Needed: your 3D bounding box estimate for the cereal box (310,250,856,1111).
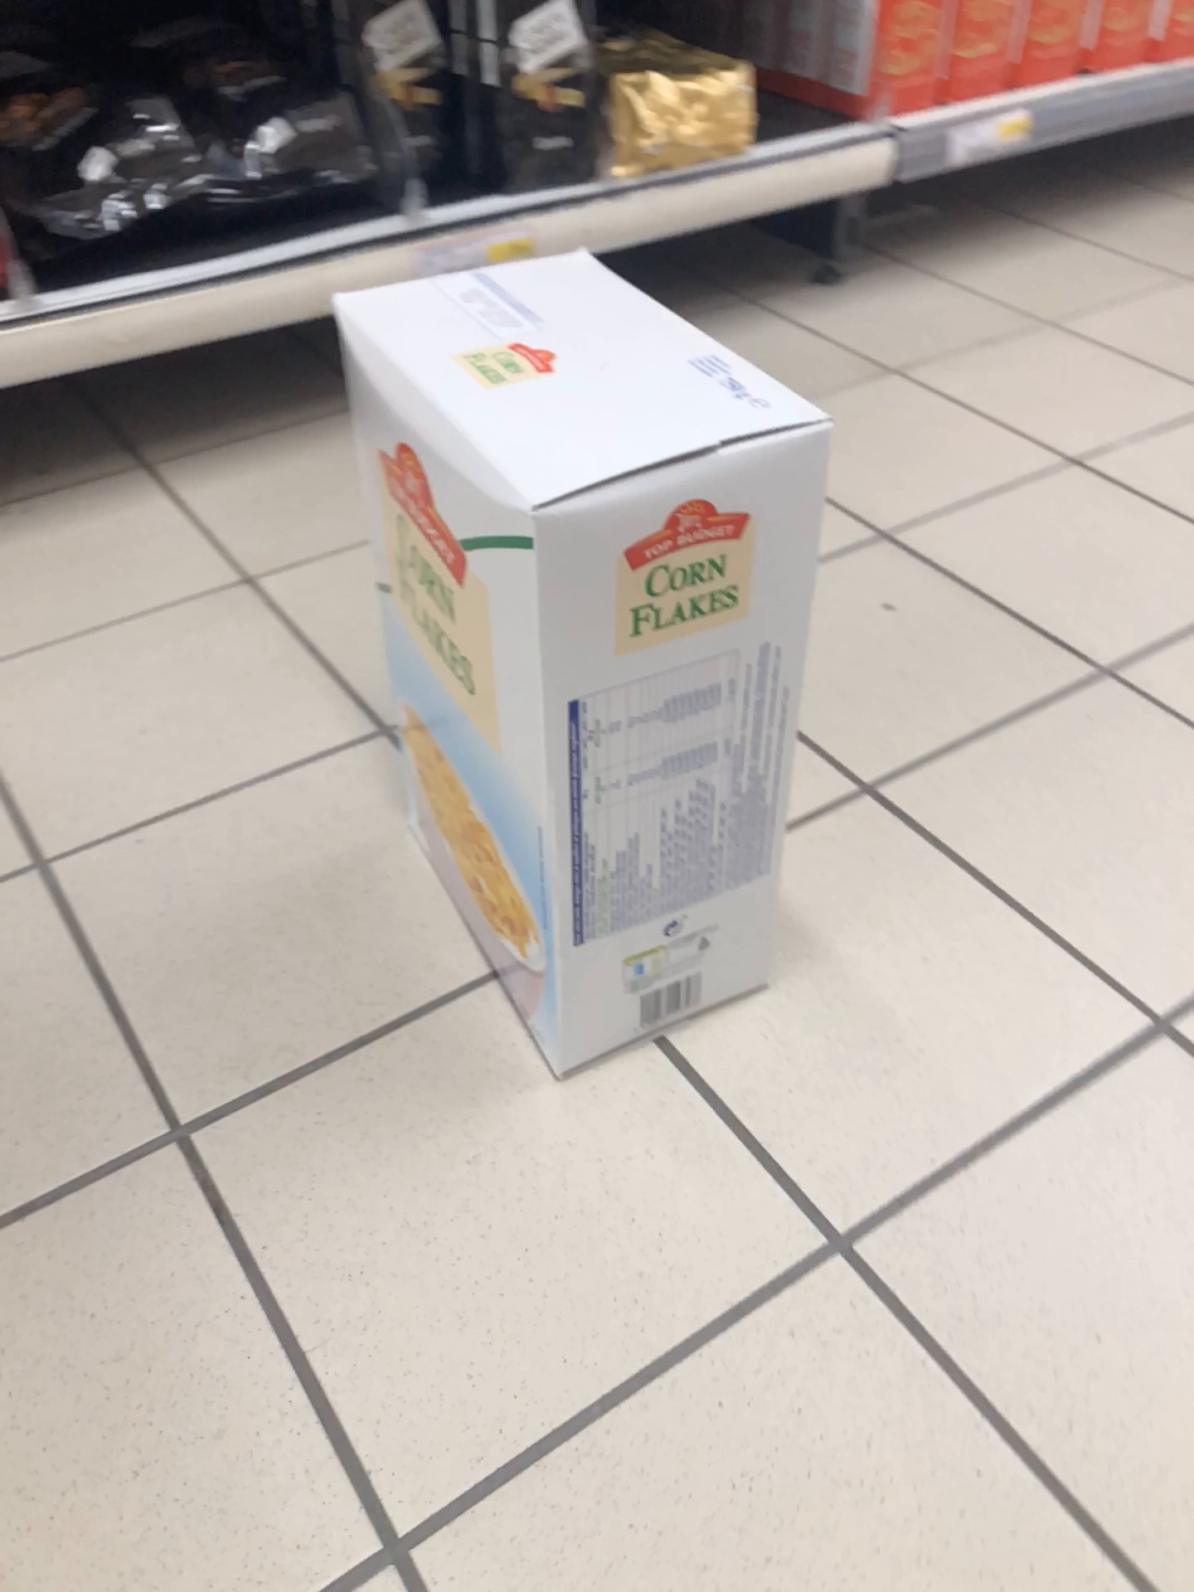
[{"bbox_3d":[-0.014,-0.049,0.568,0.120,0.288,0.201,-19,43,-20],"label":"cereal box"}]
